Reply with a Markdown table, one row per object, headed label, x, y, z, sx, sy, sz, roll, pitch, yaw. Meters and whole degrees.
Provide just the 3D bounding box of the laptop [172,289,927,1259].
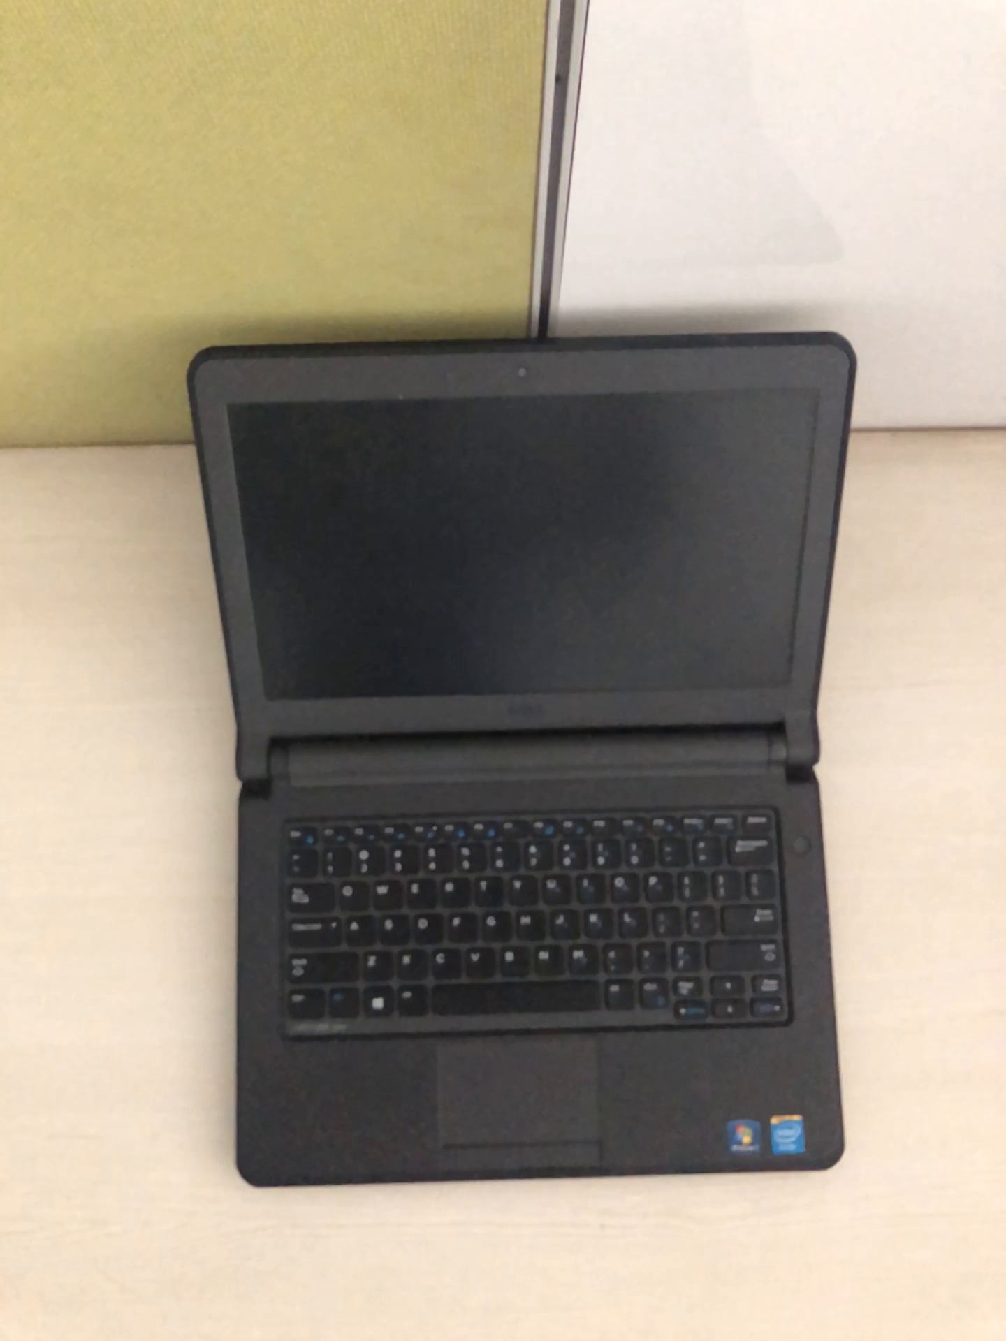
| label | x | y | z | sx | sy | sz | roll | pitch | yaw |
| --- | --- | --- | --- | --- | --- | --- | --- | --- | --- |
| laptop | 0.015 | 0.048 | 0.549 | 0.316 | 0.123 | 0.415 | -2 | 84 | -1 |
